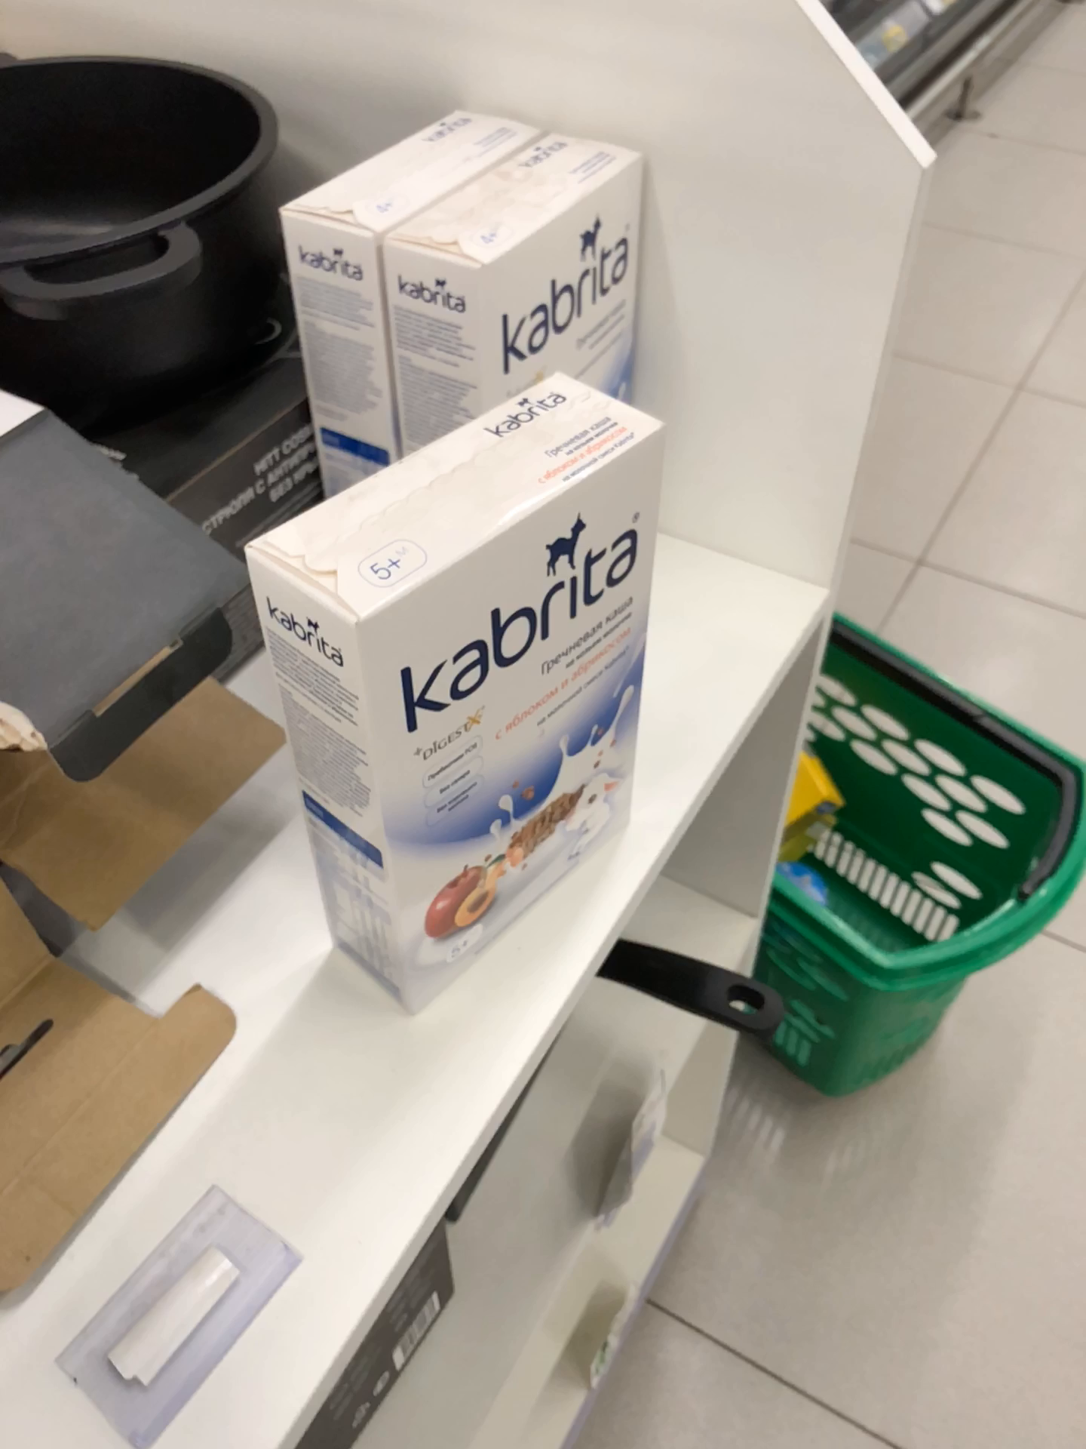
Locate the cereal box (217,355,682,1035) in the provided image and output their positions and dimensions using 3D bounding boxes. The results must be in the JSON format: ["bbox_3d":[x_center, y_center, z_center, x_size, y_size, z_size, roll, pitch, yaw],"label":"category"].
[{"bbox_3d":[-0.023,-0.004,0.422,0.050,0.199,0.140,33,54,28],"label":"cereal box"}]
